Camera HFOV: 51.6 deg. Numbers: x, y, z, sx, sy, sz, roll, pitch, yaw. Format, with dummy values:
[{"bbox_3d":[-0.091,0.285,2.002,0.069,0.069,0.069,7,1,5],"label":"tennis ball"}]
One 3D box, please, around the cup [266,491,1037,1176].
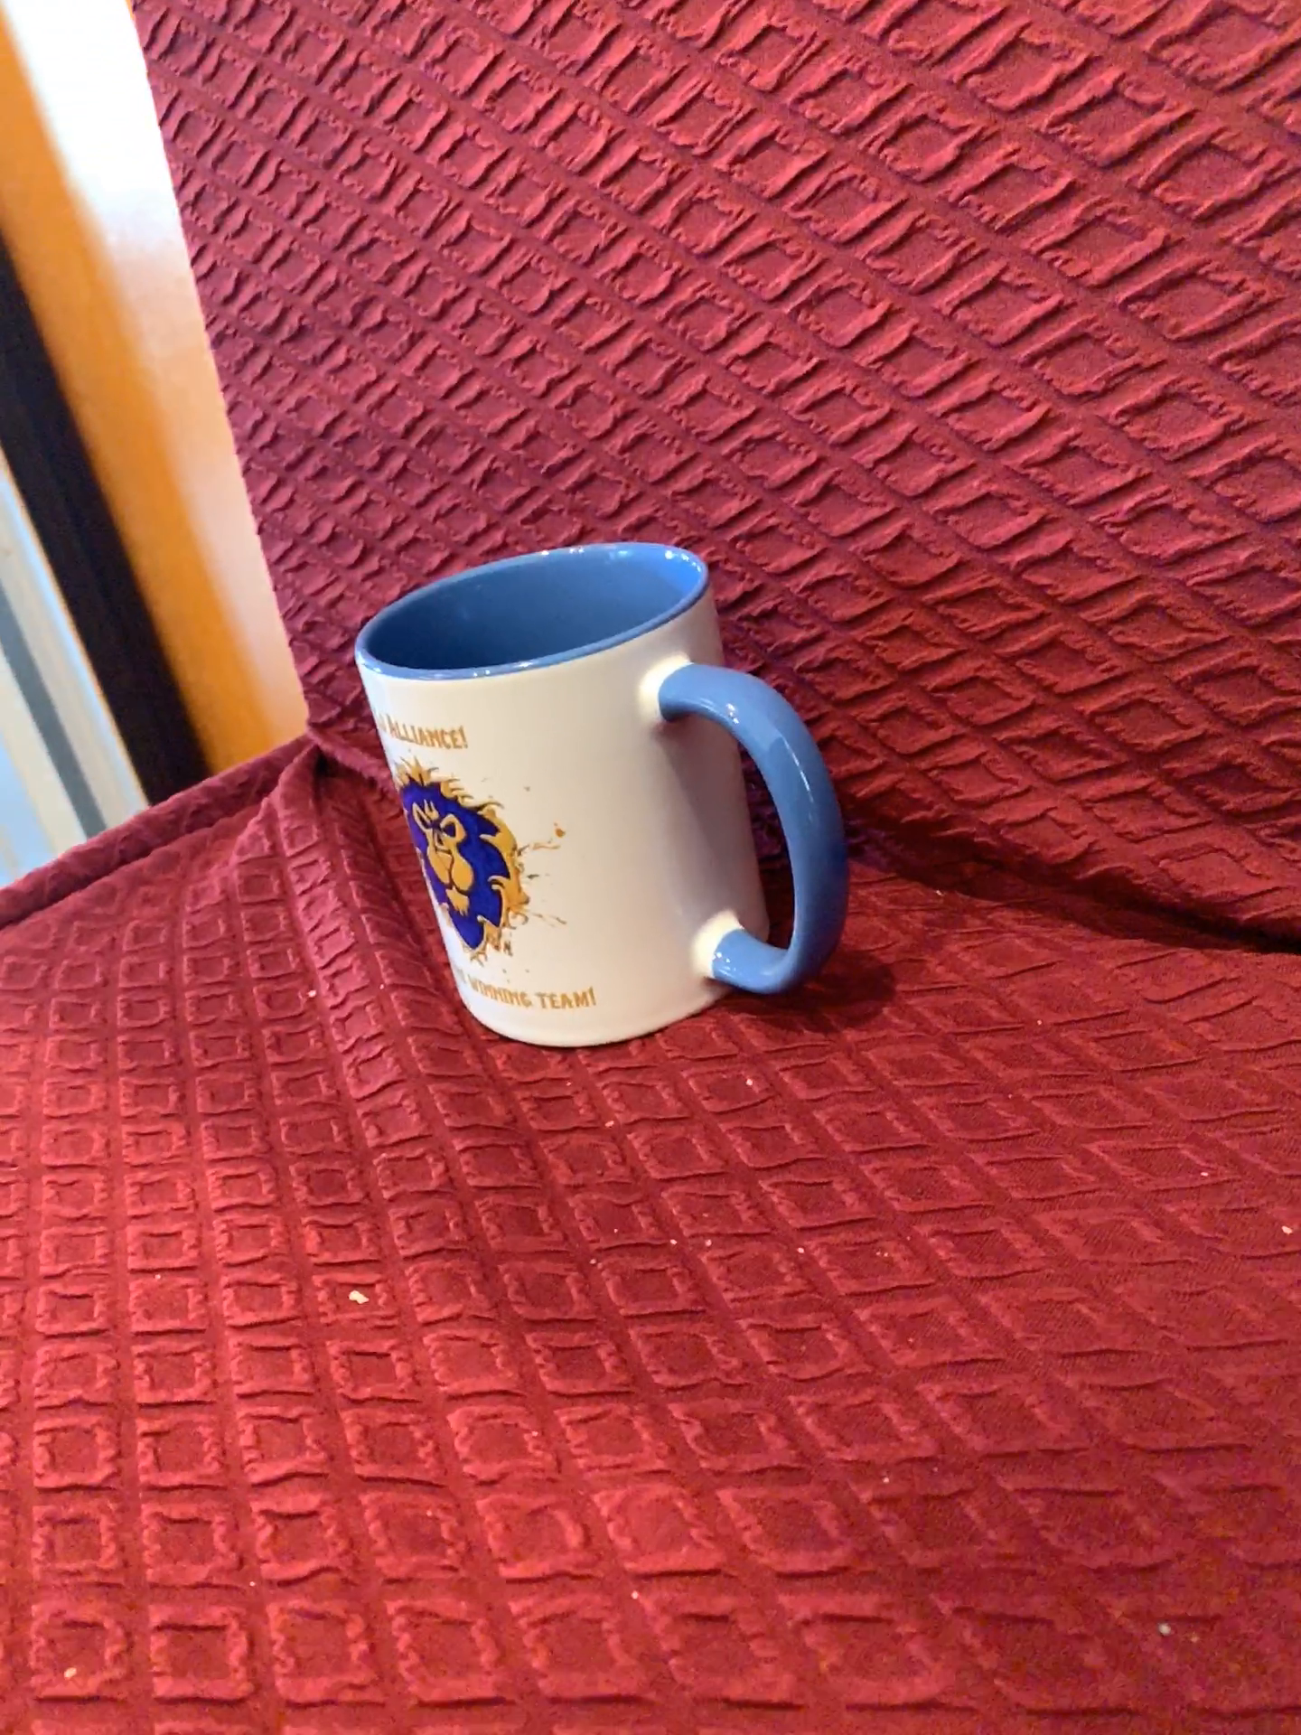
[{"bbox_3d":[0.003,-0.020,0.312,0.131,0.099,0.100,17,40,42],"label":"cup"}]
